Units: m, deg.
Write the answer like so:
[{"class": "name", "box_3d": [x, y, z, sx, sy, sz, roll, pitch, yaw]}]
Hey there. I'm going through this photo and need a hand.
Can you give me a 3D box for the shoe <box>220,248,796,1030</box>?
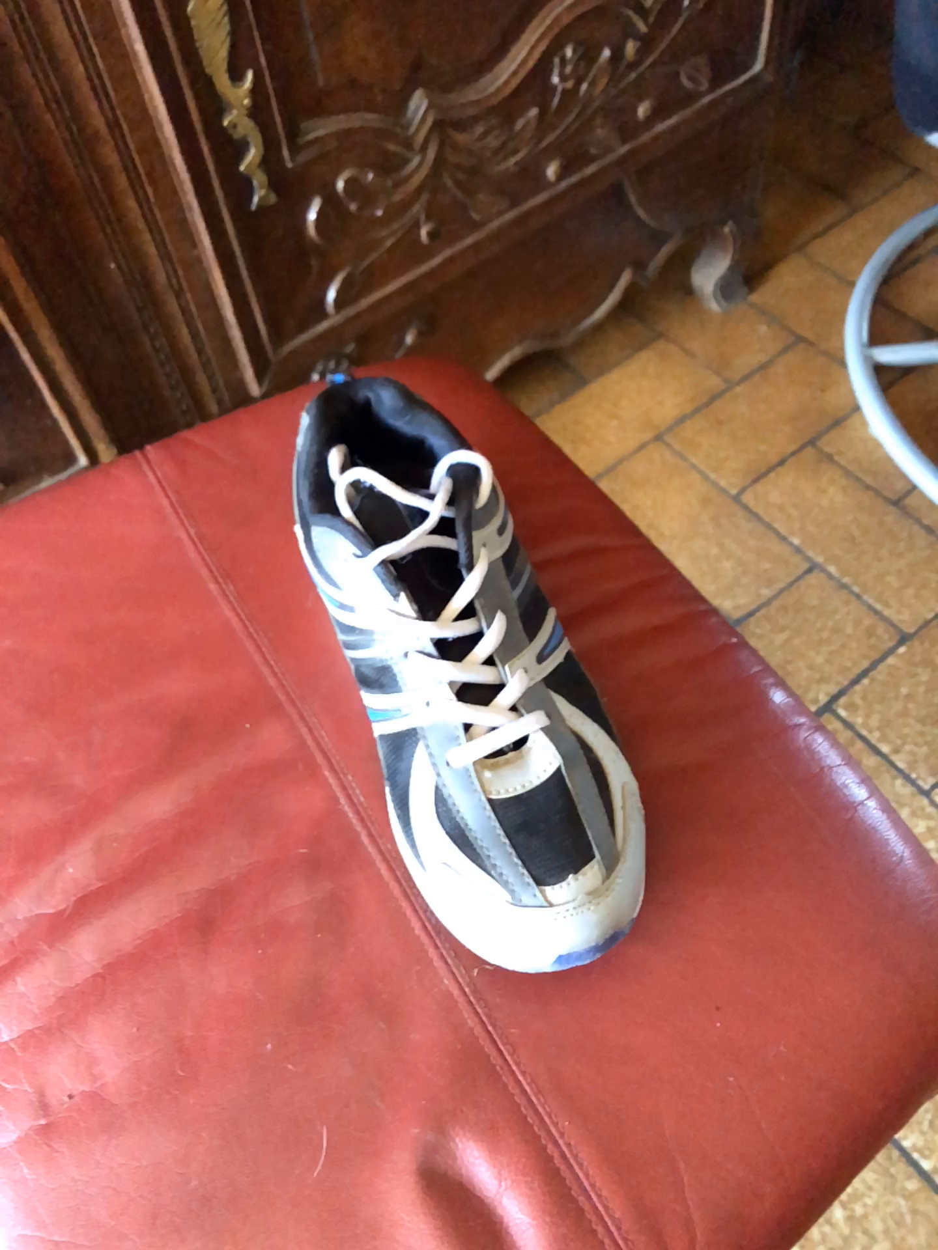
[{"class": "shoe", "box_3d": [0.001, -0.004, 0.403, 0.110, 0.120, 0.261, -19, 58, -7]}]
